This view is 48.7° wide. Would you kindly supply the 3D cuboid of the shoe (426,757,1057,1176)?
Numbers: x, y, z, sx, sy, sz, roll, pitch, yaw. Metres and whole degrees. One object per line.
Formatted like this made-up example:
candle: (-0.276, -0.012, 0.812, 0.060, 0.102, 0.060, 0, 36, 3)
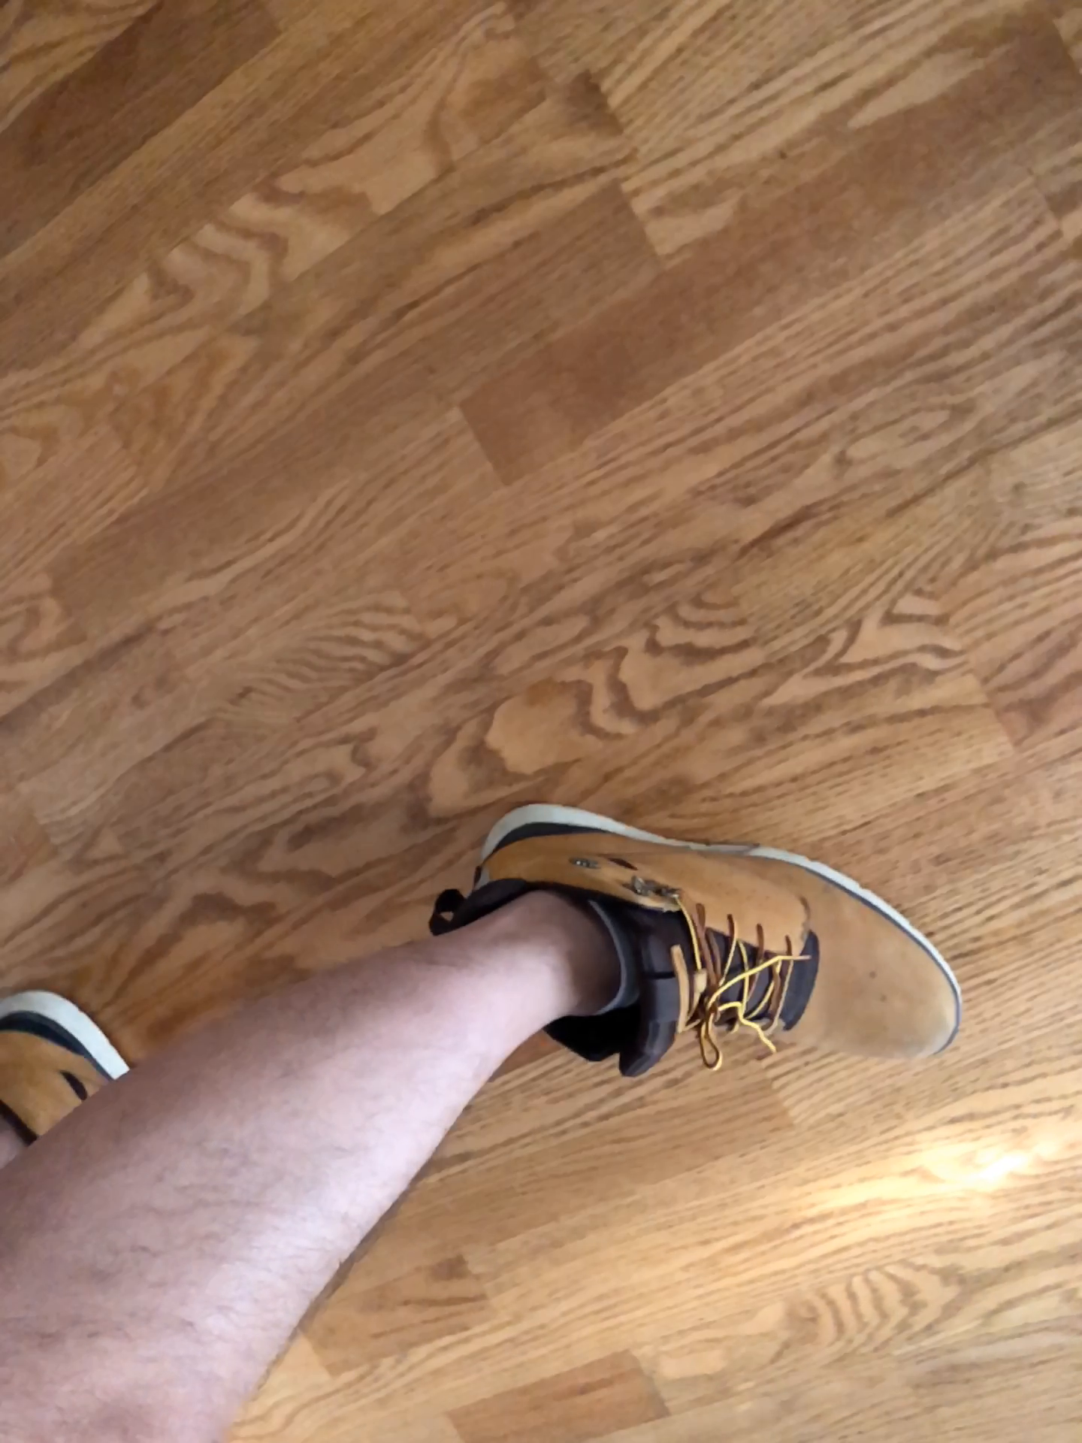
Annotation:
shoe: (0.104, 0.136, 0.701, 0.310, 0.150, 0.120, 14, 106, -3)
